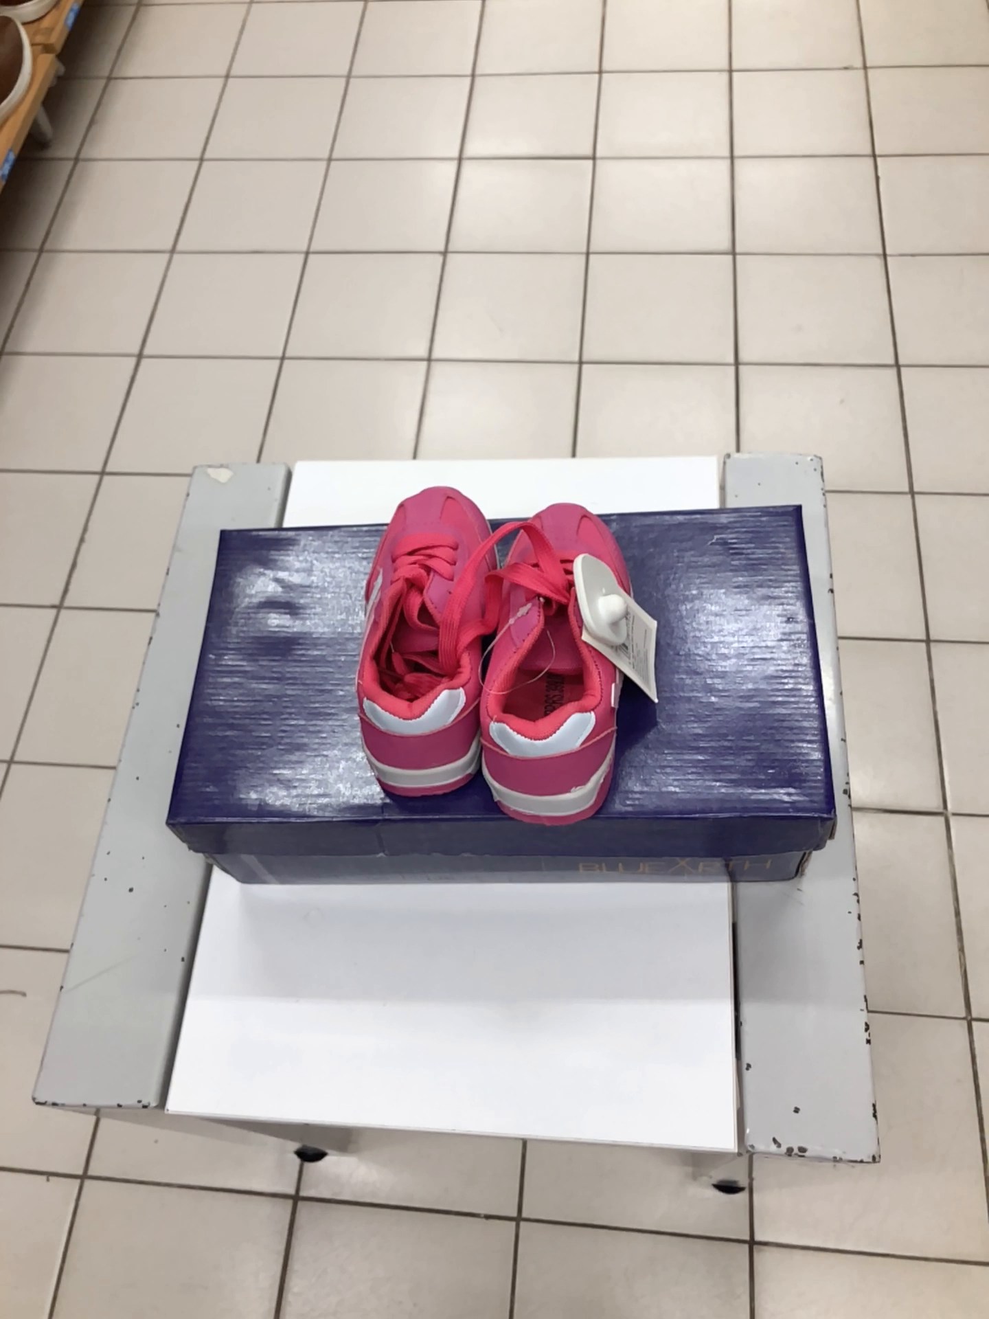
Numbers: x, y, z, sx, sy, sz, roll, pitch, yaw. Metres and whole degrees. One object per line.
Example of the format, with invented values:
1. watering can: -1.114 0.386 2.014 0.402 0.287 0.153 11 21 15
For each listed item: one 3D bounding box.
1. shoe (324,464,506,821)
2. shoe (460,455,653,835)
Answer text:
1. shoe: -0.035 -0.008 0.566 0.070 0.090 0.161 0 62 5
2. shoe: 0.032 -0.007 0.533 0.080 0.090 0.161 0 62 5
